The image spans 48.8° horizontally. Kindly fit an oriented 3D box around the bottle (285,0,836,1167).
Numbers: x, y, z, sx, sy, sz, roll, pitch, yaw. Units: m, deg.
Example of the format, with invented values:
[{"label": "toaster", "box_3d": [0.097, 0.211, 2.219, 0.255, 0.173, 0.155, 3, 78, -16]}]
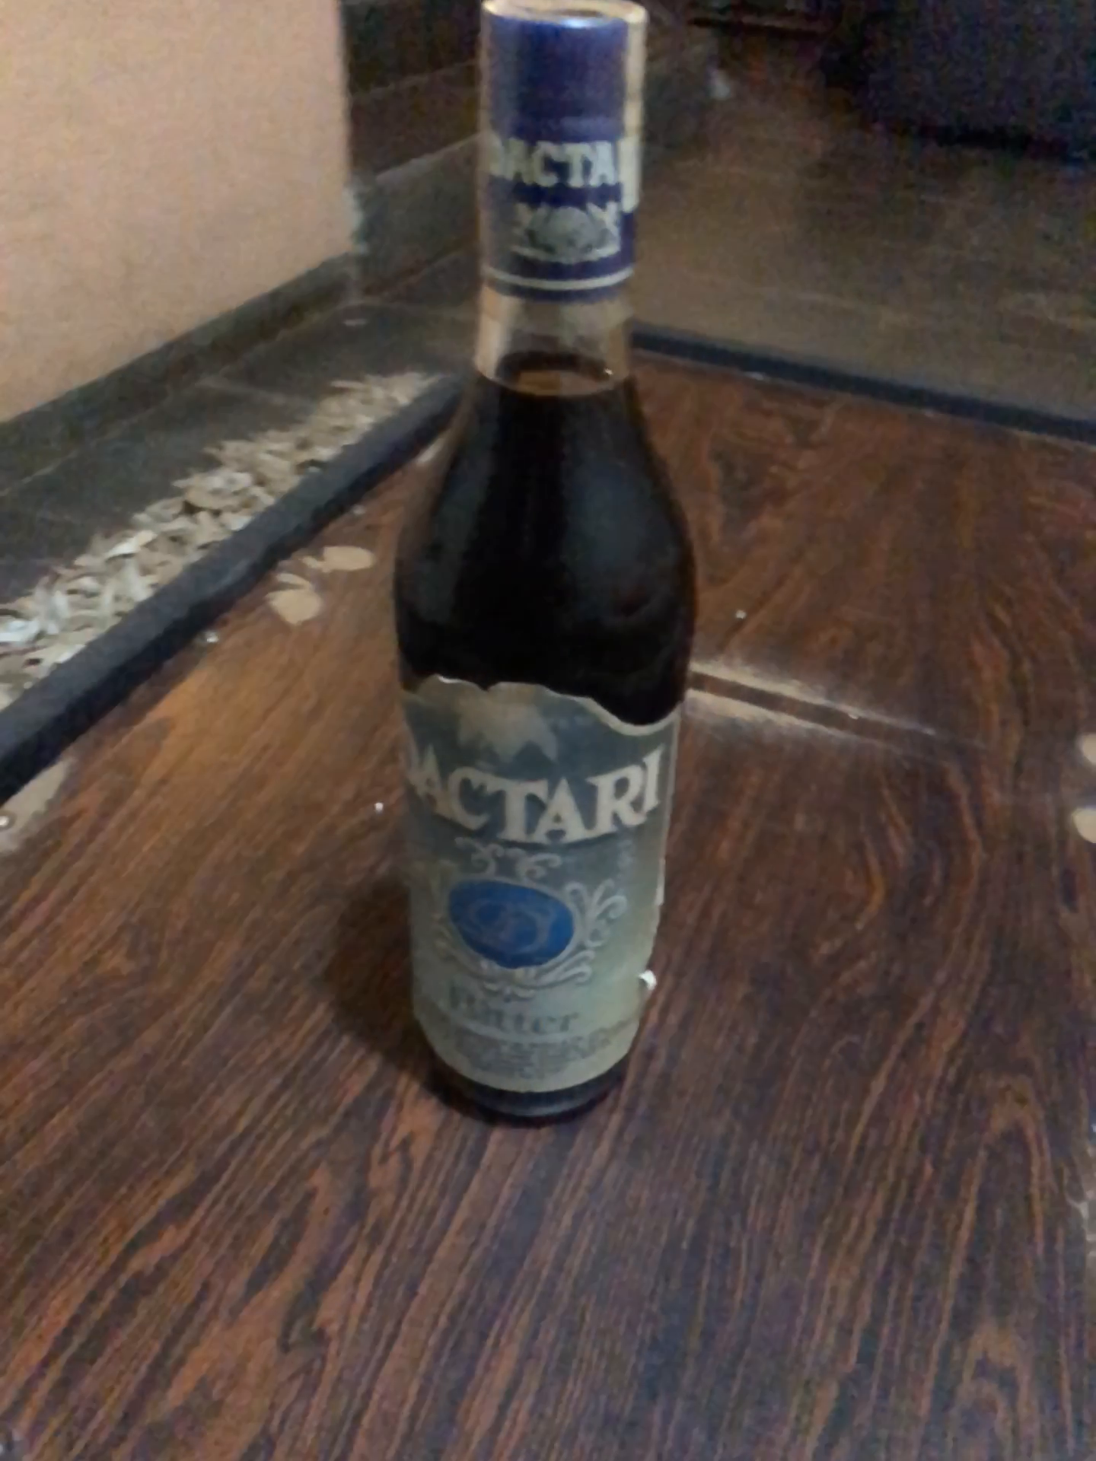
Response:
[{"label": "bottle", "box_3d": [0.000, -0.017, 0.329, 0.090, 0.308, 0.081, 12, 38, 11]}]
